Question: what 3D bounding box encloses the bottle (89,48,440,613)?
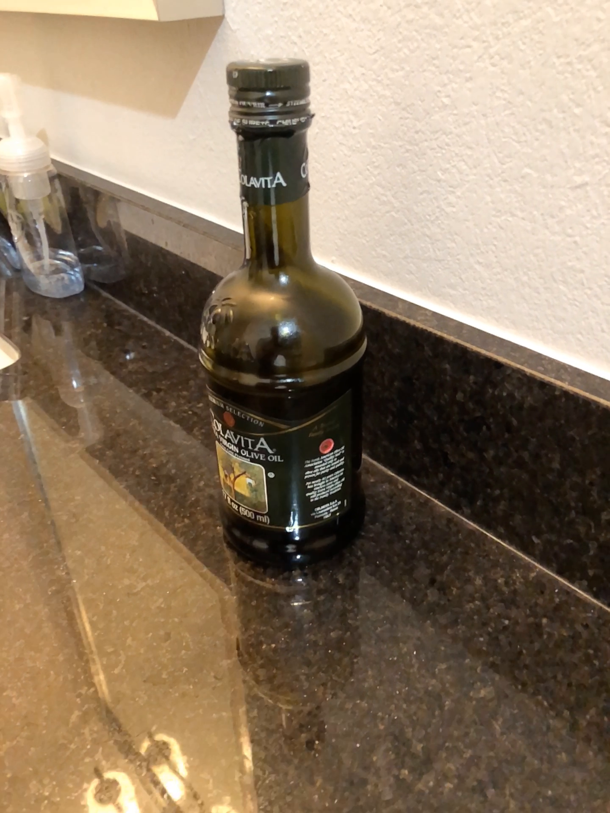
[{"bbox_3d":[-0.012,-0.031,0.306,0.090,0.219,0.090,-2,33,1],"label":"bottle"}]
